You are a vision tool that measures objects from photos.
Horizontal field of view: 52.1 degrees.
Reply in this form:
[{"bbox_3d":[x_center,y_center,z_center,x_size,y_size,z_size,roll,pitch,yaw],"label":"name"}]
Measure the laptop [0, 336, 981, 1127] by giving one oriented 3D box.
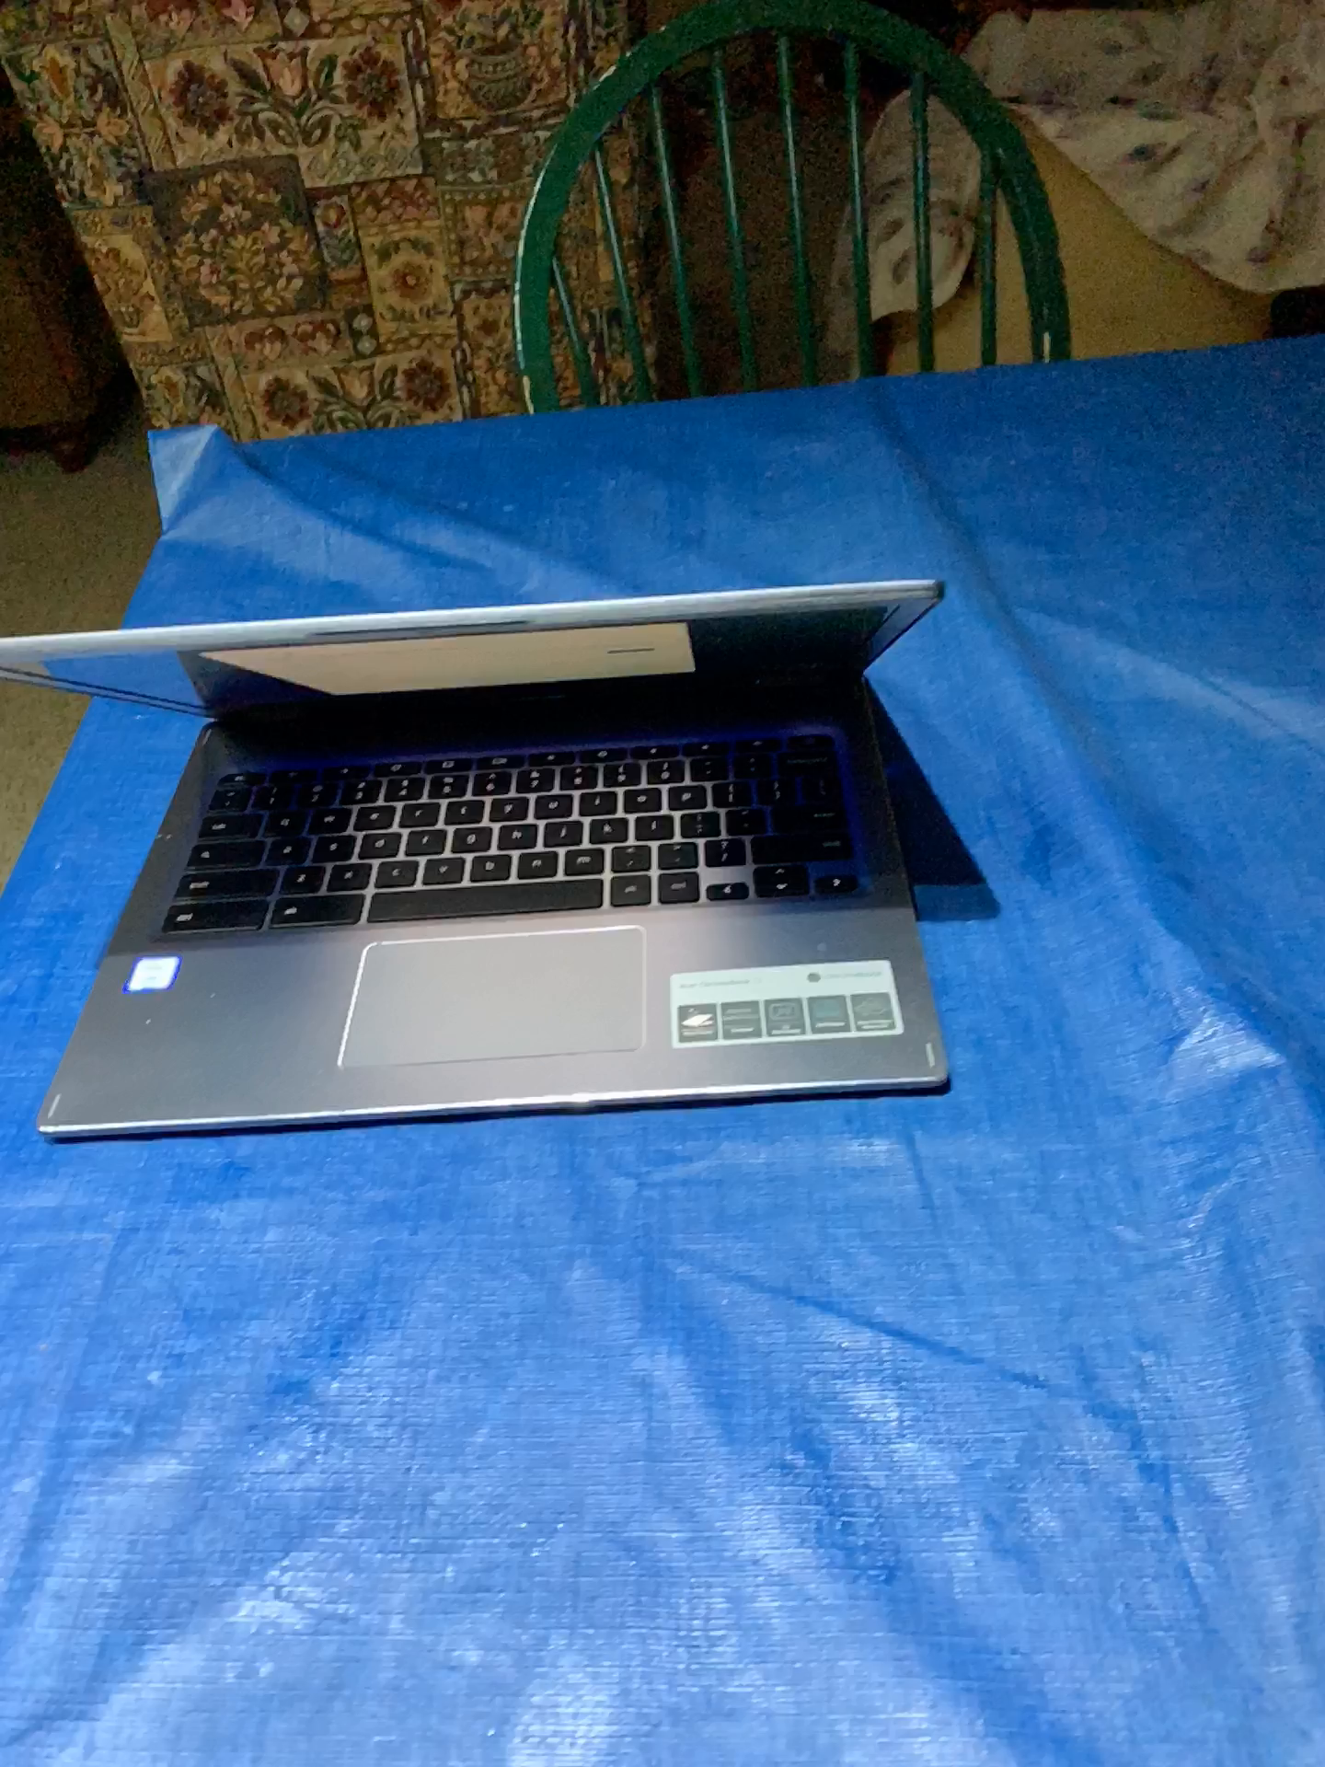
[{"bbox_3d":[-0.063,-0.066,0.496,0.303,0.150,0.252,-3,41,3],"label":"laptop"}]
